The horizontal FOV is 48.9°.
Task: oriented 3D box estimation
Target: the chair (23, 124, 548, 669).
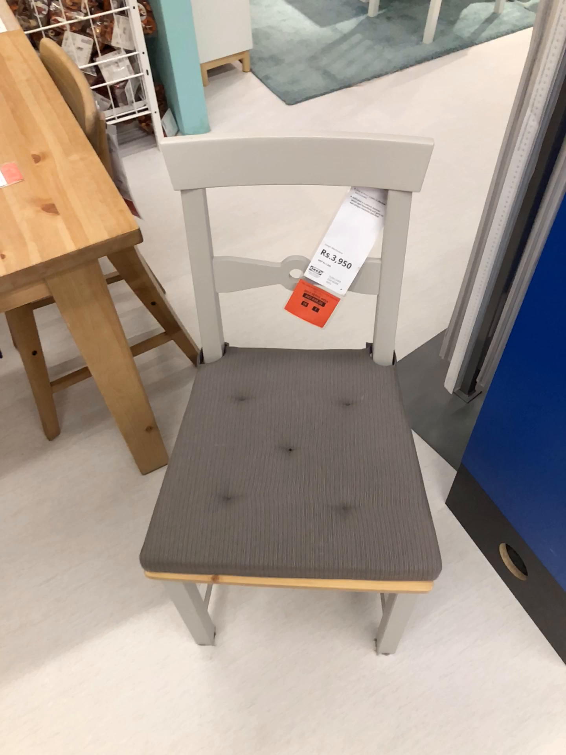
[{"bbox_3d":[0.022,0.098,0.956,0.430,0.766,0.473,1,53,3],"label":"chair"}]
